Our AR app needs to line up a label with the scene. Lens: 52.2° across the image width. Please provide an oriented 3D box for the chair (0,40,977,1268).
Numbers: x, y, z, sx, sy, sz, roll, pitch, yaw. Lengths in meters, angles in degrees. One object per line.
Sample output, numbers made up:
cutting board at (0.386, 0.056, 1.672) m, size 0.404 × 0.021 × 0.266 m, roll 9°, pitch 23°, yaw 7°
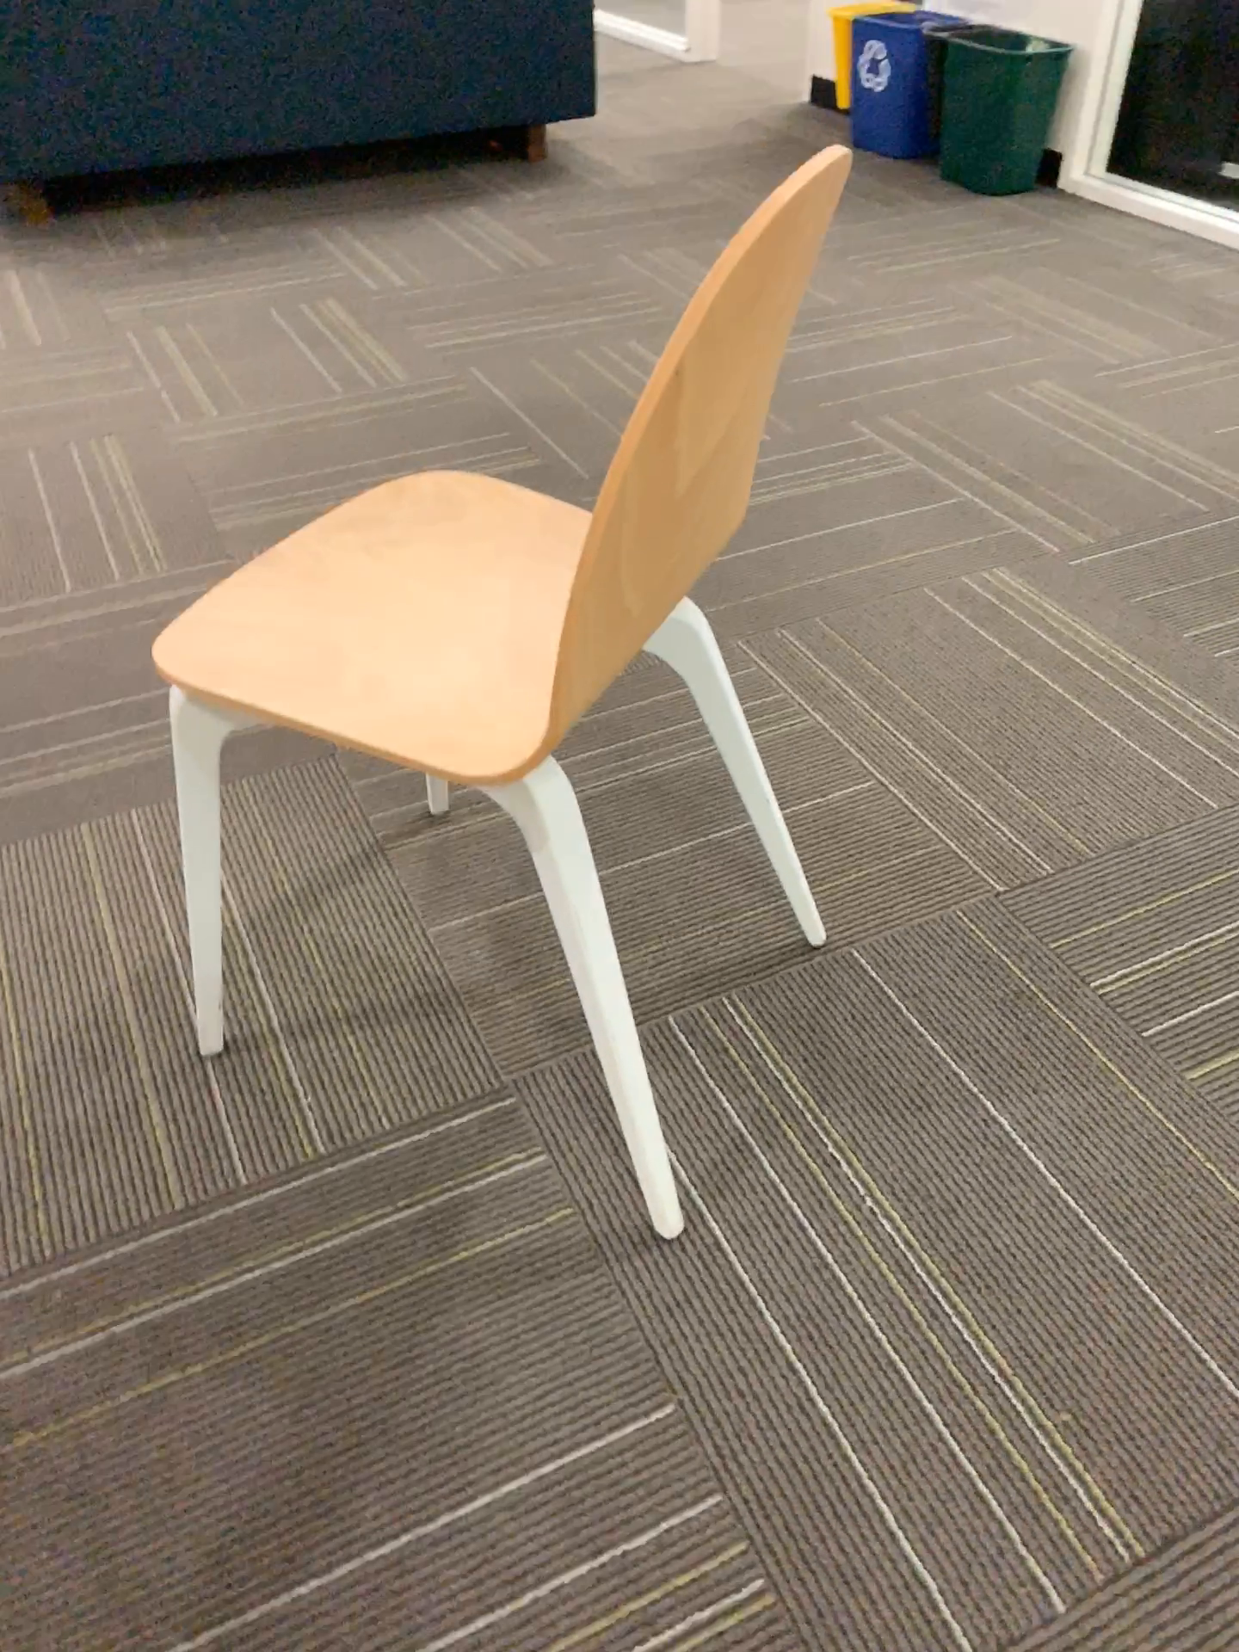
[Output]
chair at (-0.094, -0.152, 1.081) m, size 0.541 × 0.795 × 0.502 m, roll 17°, pitch 43°, yaw 20°
